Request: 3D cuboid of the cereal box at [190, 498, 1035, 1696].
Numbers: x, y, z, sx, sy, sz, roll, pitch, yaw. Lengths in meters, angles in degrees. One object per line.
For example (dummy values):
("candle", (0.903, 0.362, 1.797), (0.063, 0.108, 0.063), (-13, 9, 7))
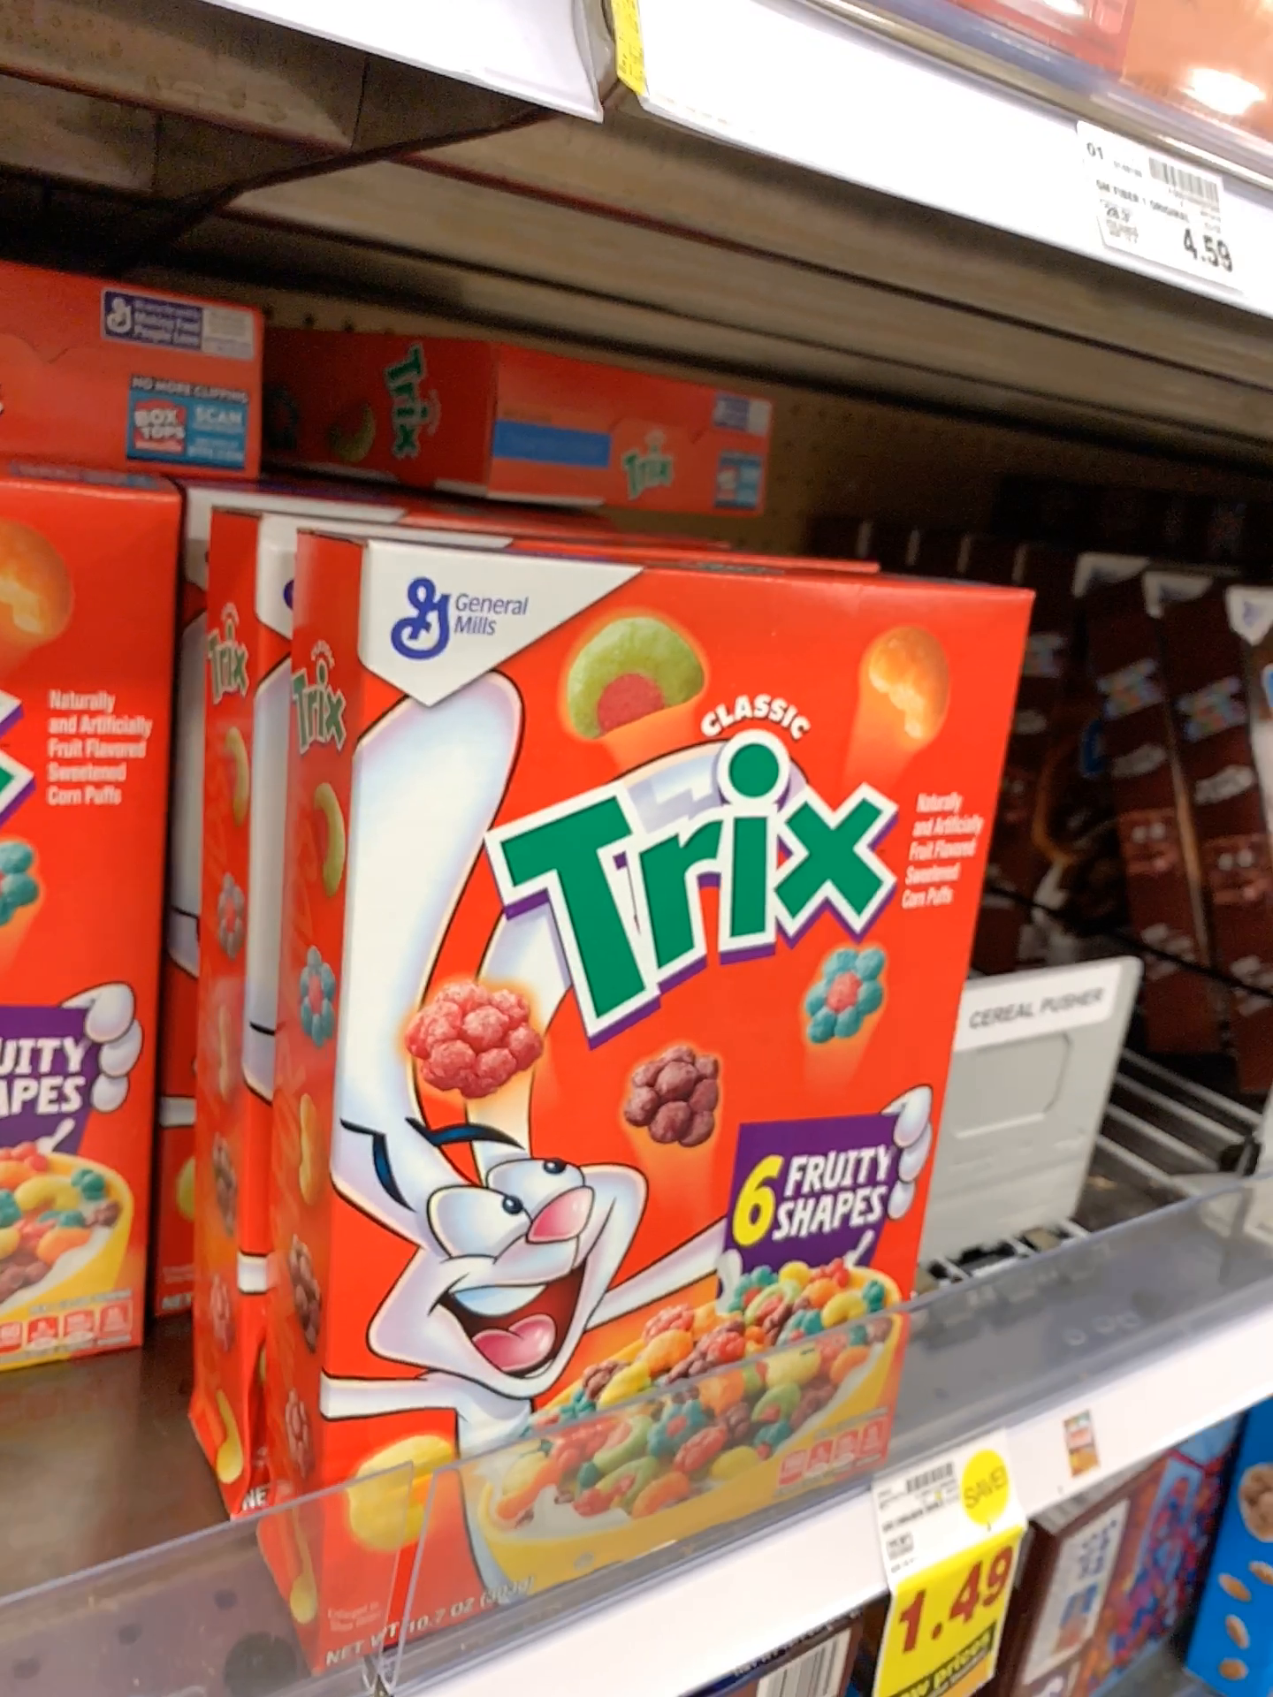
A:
("cereal box", (-0.008, 0.063, 0.369), (0.200, 0.289, 0.060), (-3, 18, -34))
